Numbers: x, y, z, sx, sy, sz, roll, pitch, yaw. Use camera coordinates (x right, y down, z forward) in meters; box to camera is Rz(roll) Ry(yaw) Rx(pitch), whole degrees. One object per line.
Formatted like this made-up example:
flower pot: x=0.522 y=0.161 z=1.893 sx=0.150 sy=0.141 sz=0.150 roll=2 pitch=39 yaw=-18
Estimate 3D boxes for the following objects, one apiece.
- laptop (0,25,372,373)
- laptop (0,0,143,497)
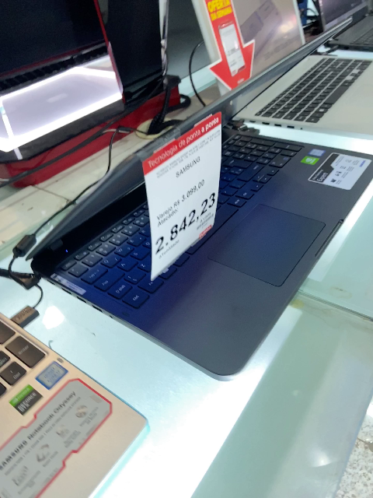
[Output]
laptop: x=0.035 y=-0.107 z=0.391 sx=0.231 sy=0.146 sz=0.367 roll=20 pitch=46 yaw=30
laptop: x=-0.283 y=0.061 z=0.151 sx=0.331 sy=0.240 sz=0.369 roll=22 pitch=47 yaw=31
